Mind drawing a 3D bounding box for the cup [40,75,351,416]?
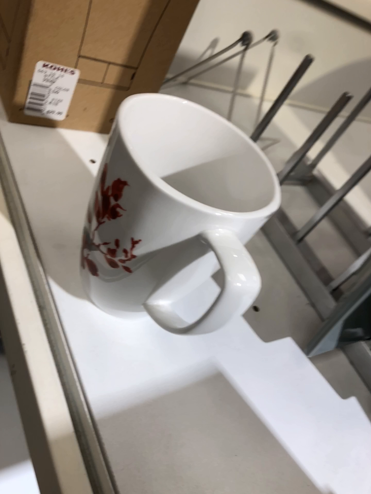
[{"bbox_3d":[-0.009,-0.001,0.214,0.085,0.100,0.119,-2,52,-35],"label":"cup"}]
